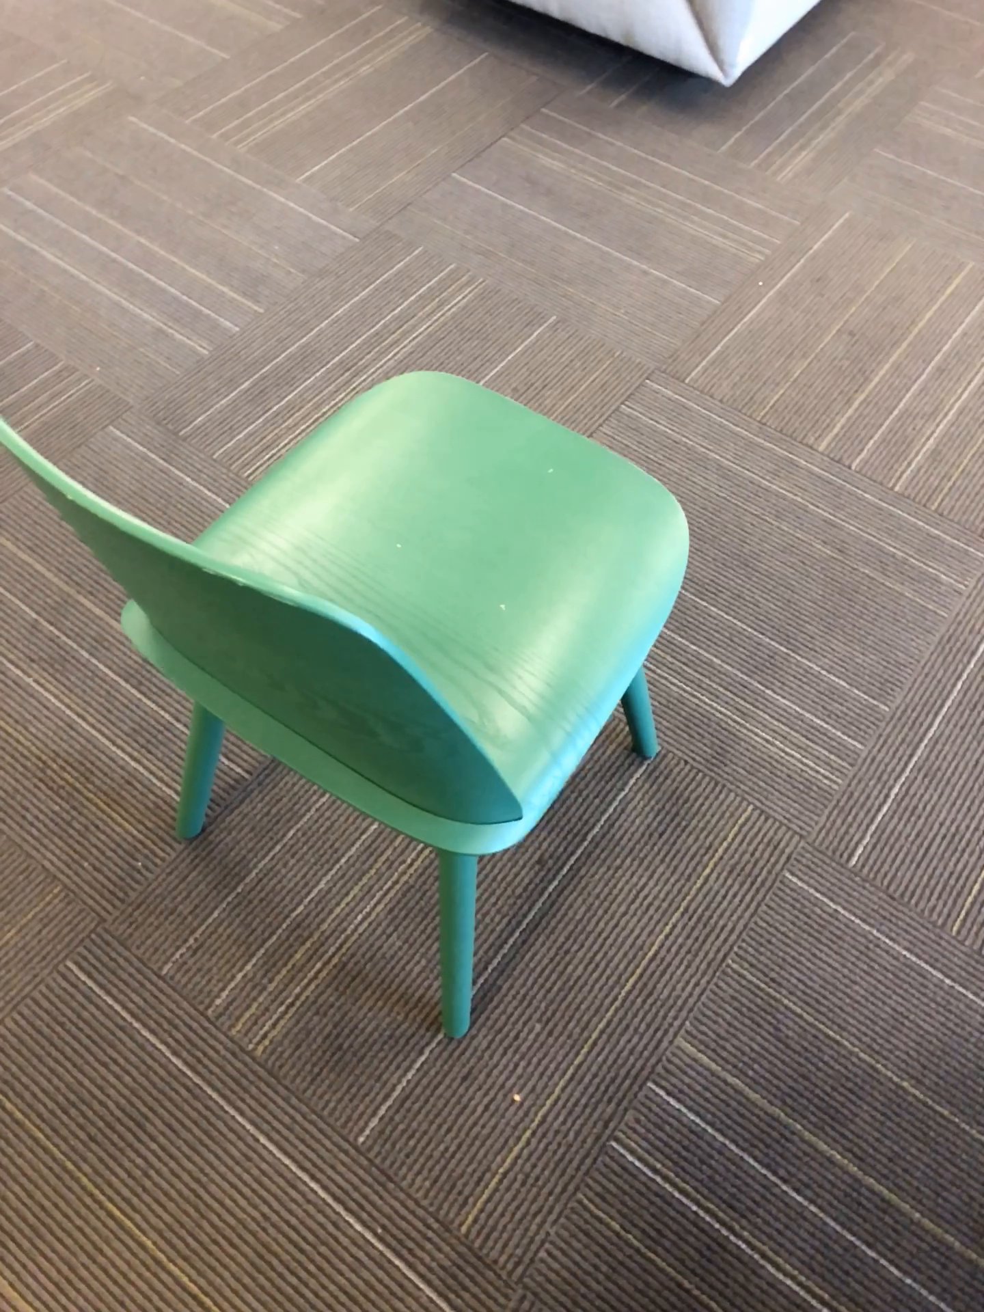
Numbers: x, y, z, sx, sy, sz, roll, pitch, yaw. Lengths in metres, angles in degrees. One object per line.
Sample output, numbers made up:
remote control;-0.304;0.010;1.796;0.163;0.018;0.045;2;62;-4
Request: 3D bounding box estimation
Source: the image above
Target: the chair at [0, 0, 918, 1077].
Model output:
chair;-0.071;-0.066;1.015;0.501;0.778;0.501;31;60;18
